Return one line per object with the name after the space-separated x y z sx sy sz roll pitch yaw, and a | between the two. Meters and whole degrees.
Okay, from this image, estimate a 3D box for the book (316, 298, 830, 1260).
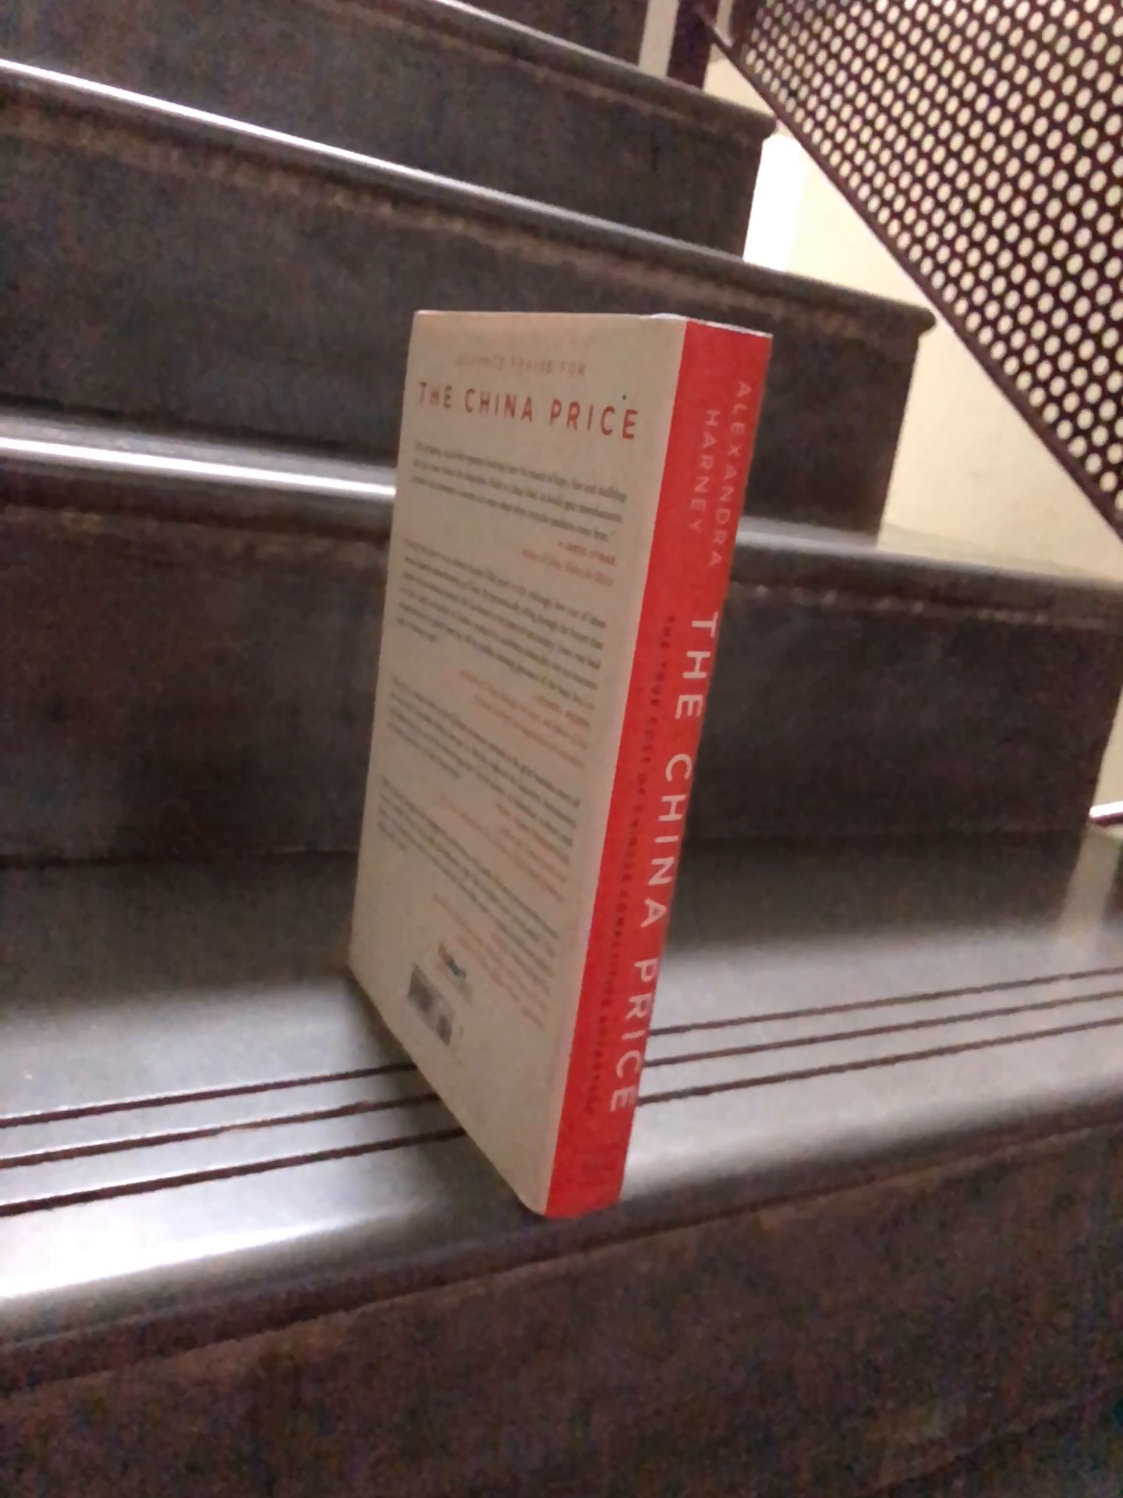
-0.016 -0.008 0.384 0.040 0.239 0.180 0 18 -30 | book
